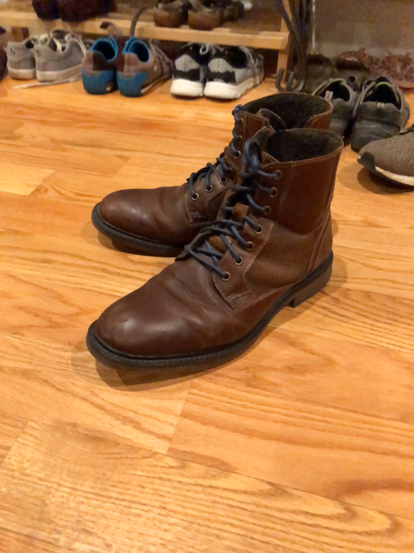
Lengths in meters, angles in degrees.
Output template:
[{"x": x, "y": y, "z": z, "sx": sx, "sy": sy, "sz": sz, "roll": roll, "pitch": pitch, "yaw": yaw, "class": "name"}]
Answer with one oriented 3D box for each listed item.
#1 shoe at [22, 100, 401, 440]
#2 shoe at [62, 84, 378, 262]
[{"x": 0.019, "y": -0.028, "z": 0.433, "sx": 0.304, "sy": 0.176, "sz": 0.128, "roll": -28, "pitch": 48, "yaw": -30, "class": "shoe"}, {"x": 0.011, "y": -0.122, "z": 0.542, "sx": 0.310, "sy": 0.167, "sz": 0.114, "roll": -2, "pitch": 40, "yaw": -3, "class": "shoe"}]
